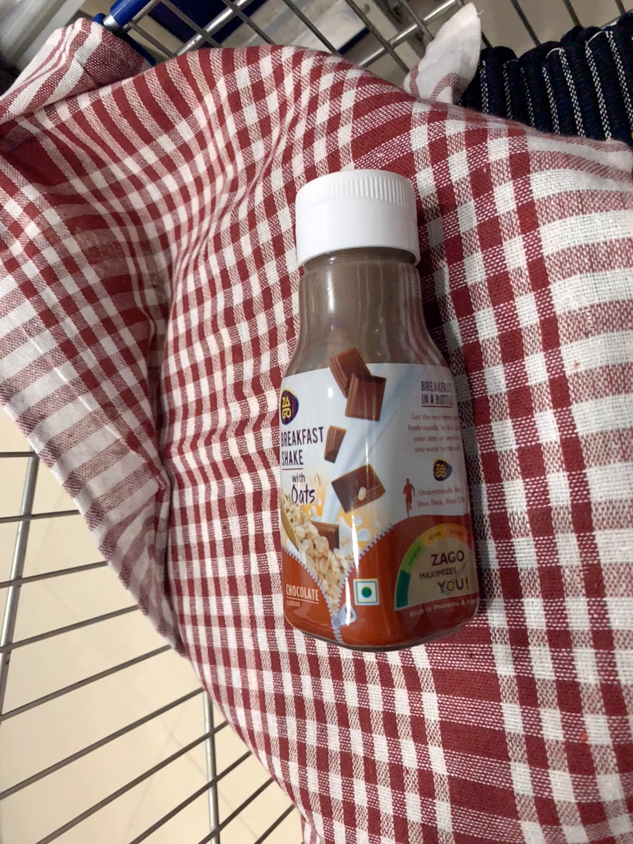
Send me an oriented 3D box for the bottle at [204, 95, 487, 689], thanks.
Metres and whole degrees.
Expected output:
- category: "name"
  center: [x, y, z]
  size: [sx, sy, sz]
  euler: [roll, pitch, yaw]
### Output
- category: "bottle"
  center: [0.008, -0.008, 0.204]
  size: [0.060, 0.050, 0.150]
  euler: [-4, 91, 49]
